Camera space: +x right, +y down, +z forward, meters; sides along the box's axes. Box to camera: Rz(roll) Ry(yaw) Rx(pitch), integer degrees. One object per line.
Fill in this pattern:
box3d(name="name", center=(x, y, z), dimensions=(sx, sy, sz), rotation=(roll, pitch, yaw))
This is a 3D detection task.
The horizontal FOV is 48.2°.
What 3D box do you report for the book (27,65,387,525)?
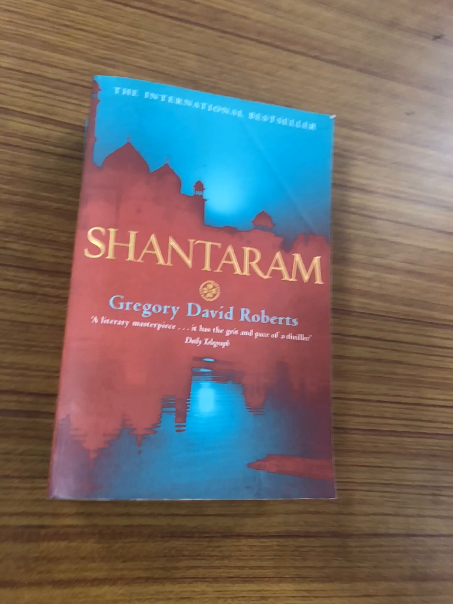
box3d(name="book", center=(-0.005, -0.001, 0.248), dimensions=(0.150, 0.050, 0.190), rotation=(5, 77, -16))
